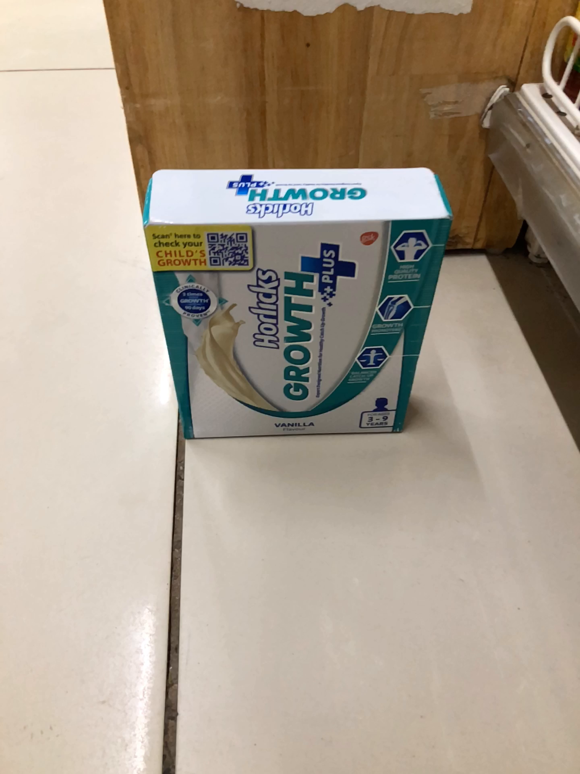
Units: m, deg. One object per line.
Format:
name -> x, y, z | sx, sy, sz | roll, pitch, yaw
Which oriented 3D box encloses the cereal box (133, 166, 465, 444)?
cereal box -> 0.003, -0.038, 0.365 | 0.150, 0.159, 0.050 | -1, 48, -2
